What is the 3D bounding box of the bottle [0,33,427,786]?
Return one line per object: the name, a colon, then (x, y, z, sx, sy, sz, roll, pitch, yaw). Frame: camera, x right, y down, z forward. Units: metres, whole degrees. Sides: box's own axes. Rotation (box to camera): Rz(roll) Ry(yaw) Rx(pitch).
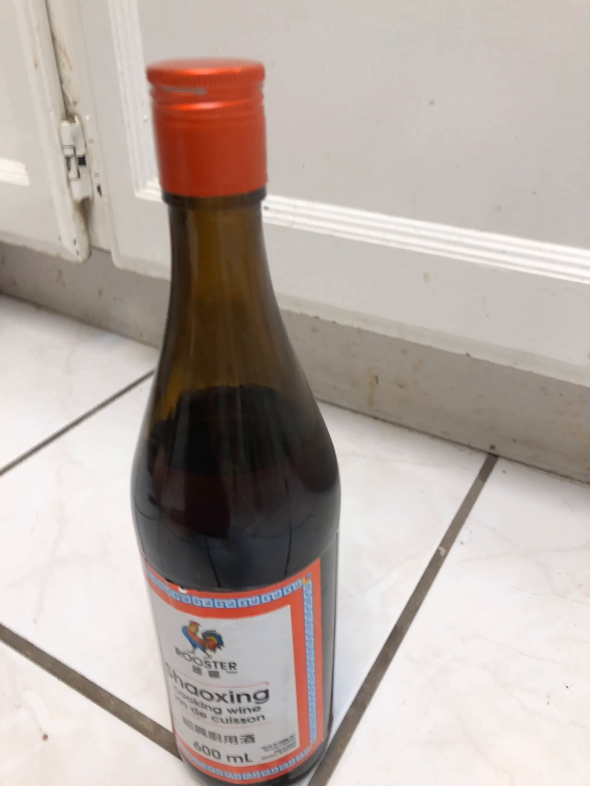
bottle: (-0.012, 0.038, 0.224, 0.080, 0.278, 0.070, 7, 33, 12)
